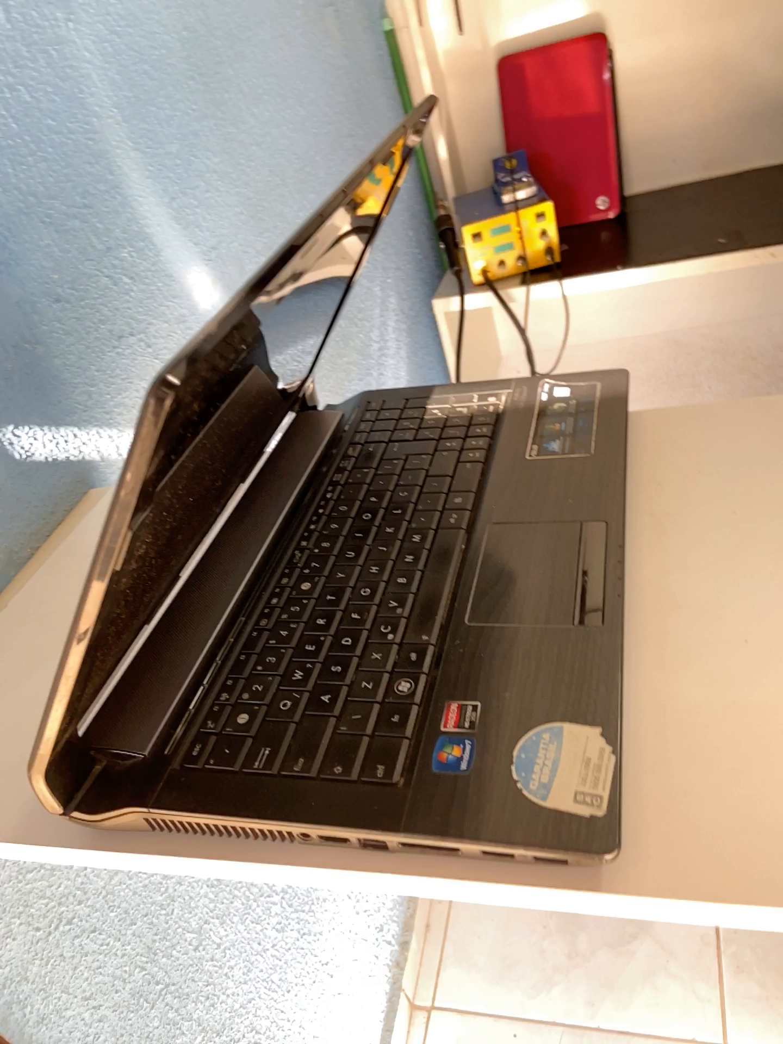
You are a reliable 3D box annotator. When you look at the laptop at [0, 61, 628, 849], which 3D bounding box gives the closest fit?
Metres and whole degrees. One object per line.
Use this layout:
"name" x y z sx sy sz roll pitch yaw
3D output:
"laptop" -0.017 -0.070 0.436 0.255 0.208 0.389 -5 35 20
